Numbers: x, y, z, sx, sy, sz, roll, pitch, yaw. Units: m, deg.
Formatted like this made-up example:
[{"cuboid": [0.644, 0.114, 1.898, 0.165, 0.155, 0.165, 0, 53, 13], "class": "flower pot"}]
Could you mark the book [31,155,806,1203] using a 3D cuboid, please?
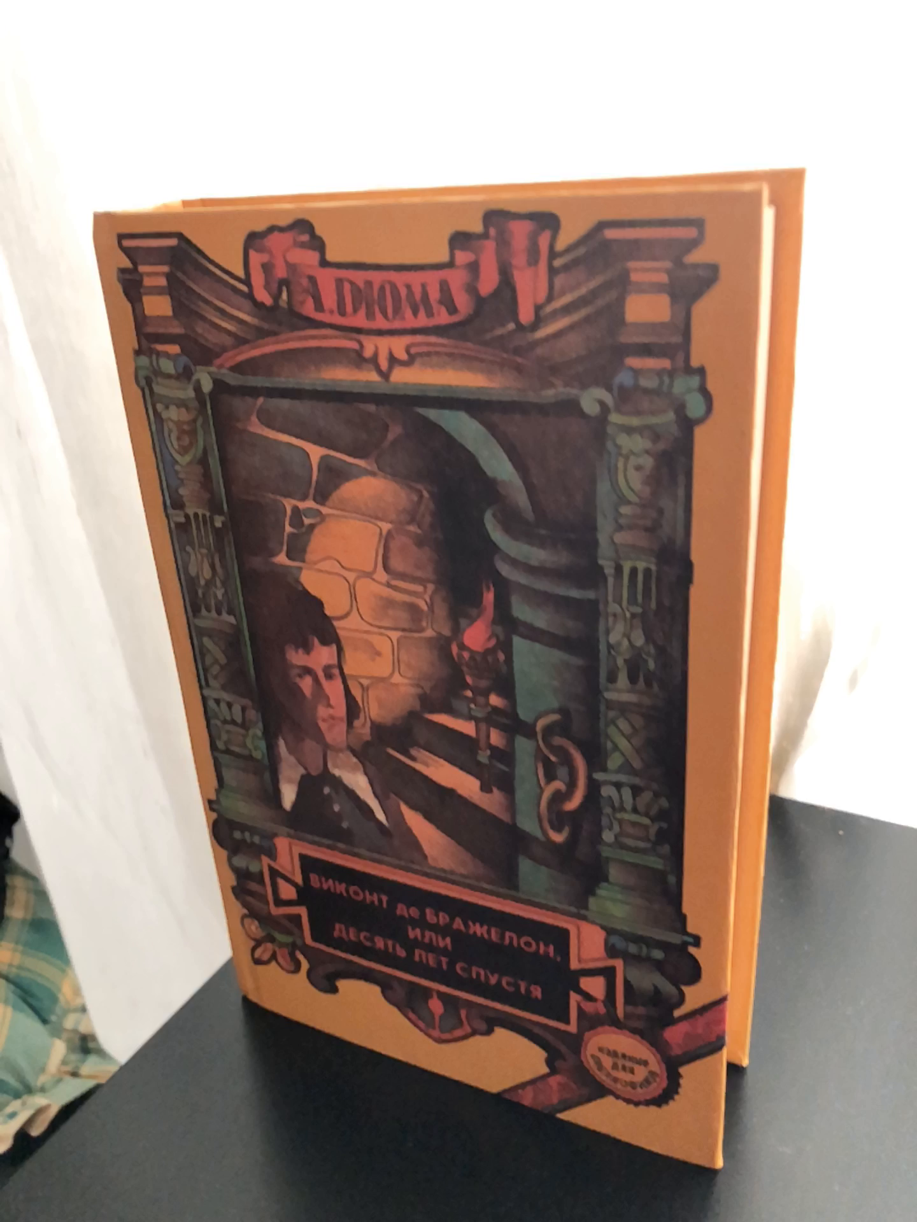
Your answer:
[{"cuboid": [-0.006, 0.015, 0.224, 0.141, 0.198, 0.040, 8, 25, 28], "class": "book"}]
